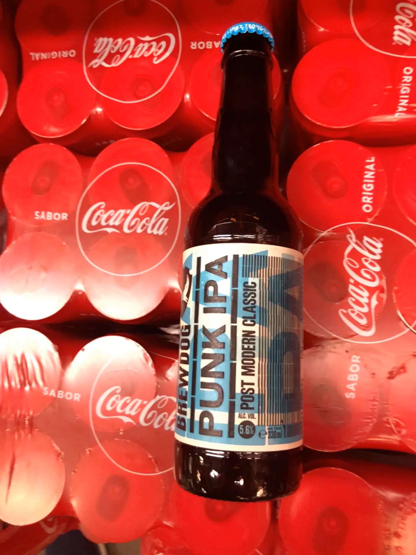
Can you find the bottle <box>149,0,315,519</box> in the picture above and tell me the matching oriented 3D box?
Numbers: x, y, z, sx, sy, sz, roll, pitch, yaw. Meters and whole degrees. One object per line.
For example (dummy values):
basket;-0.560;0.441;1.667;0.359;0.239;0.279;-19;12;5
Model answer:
bottle;0.016;-0.026;0.211;0.060;0.060;0.230;0;82;10
